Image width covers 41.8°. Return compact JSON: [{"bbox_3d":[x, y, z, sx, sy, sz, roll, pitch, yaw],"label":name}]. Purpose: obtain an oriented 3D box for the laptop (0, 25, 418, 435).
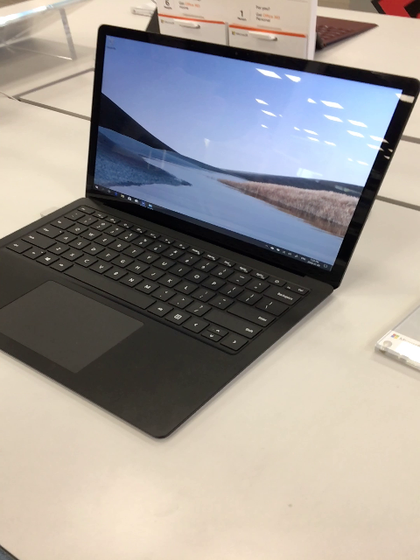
[{"bbox_3d":[-0.073,-0.072,0.488,0.320,0.188,0.297,27,52,29],"label":"laptop"}]
